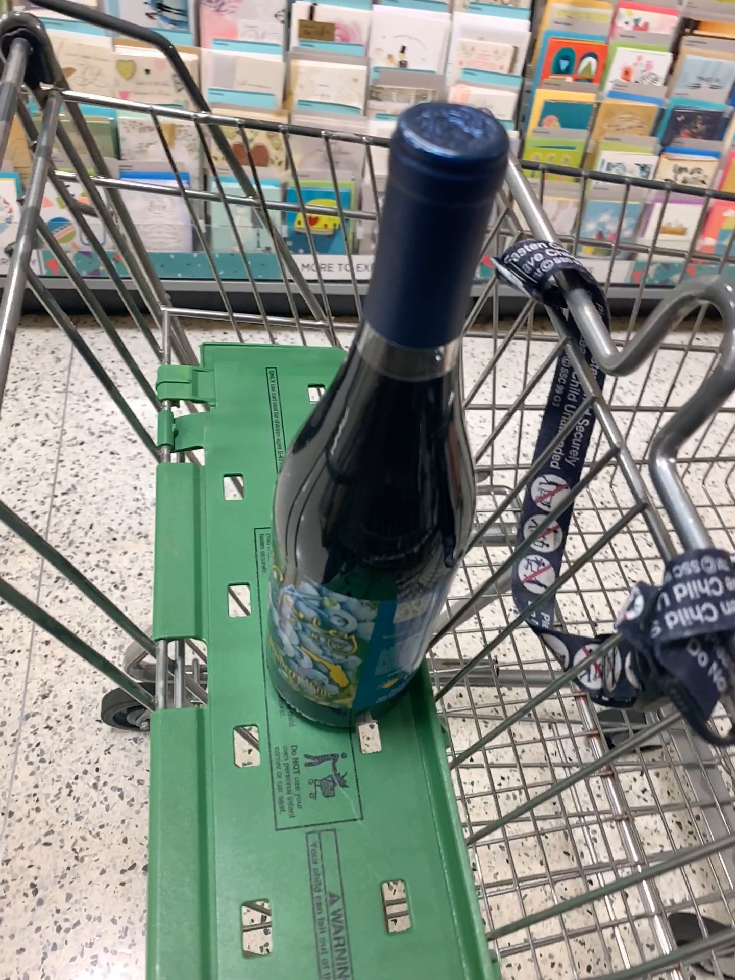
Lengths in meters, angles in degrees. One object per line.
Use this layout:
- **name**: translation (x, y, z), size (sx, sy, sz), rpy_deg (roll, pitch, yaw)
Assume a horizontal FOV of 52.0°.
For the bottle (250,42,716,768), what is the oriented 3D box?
- **bottle**: translation (0.008, 0.004, 0.286), size (0.075, 0.286, 0.081), rpy_deg (5, 51, -6)
